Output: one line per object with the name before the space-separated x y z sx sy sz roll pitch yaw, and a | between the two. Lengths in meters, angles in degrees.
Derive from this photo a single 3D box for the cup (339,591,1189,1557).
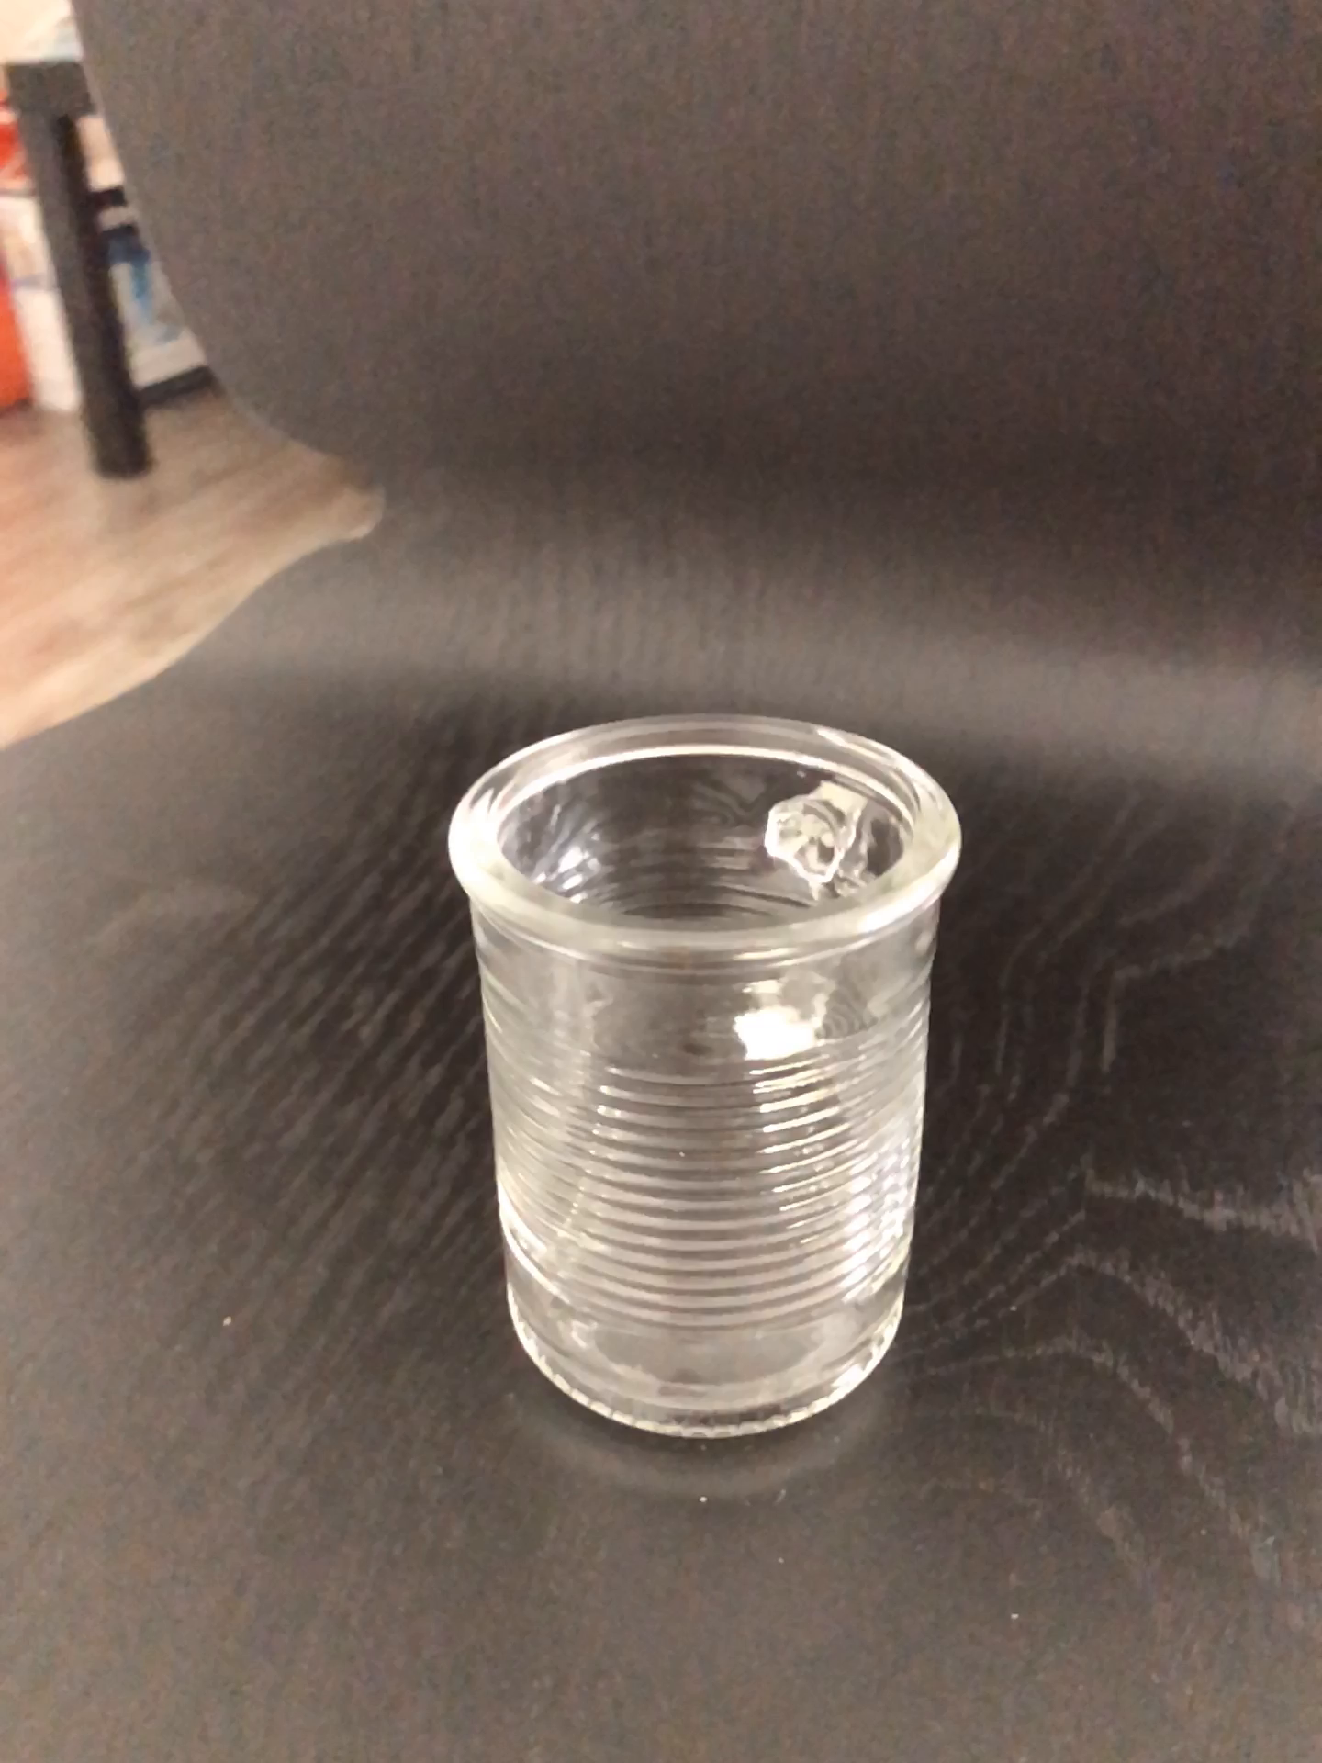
cup | 0.015 0.018 0.201 0.060 0.080 0.090 26 40 34
